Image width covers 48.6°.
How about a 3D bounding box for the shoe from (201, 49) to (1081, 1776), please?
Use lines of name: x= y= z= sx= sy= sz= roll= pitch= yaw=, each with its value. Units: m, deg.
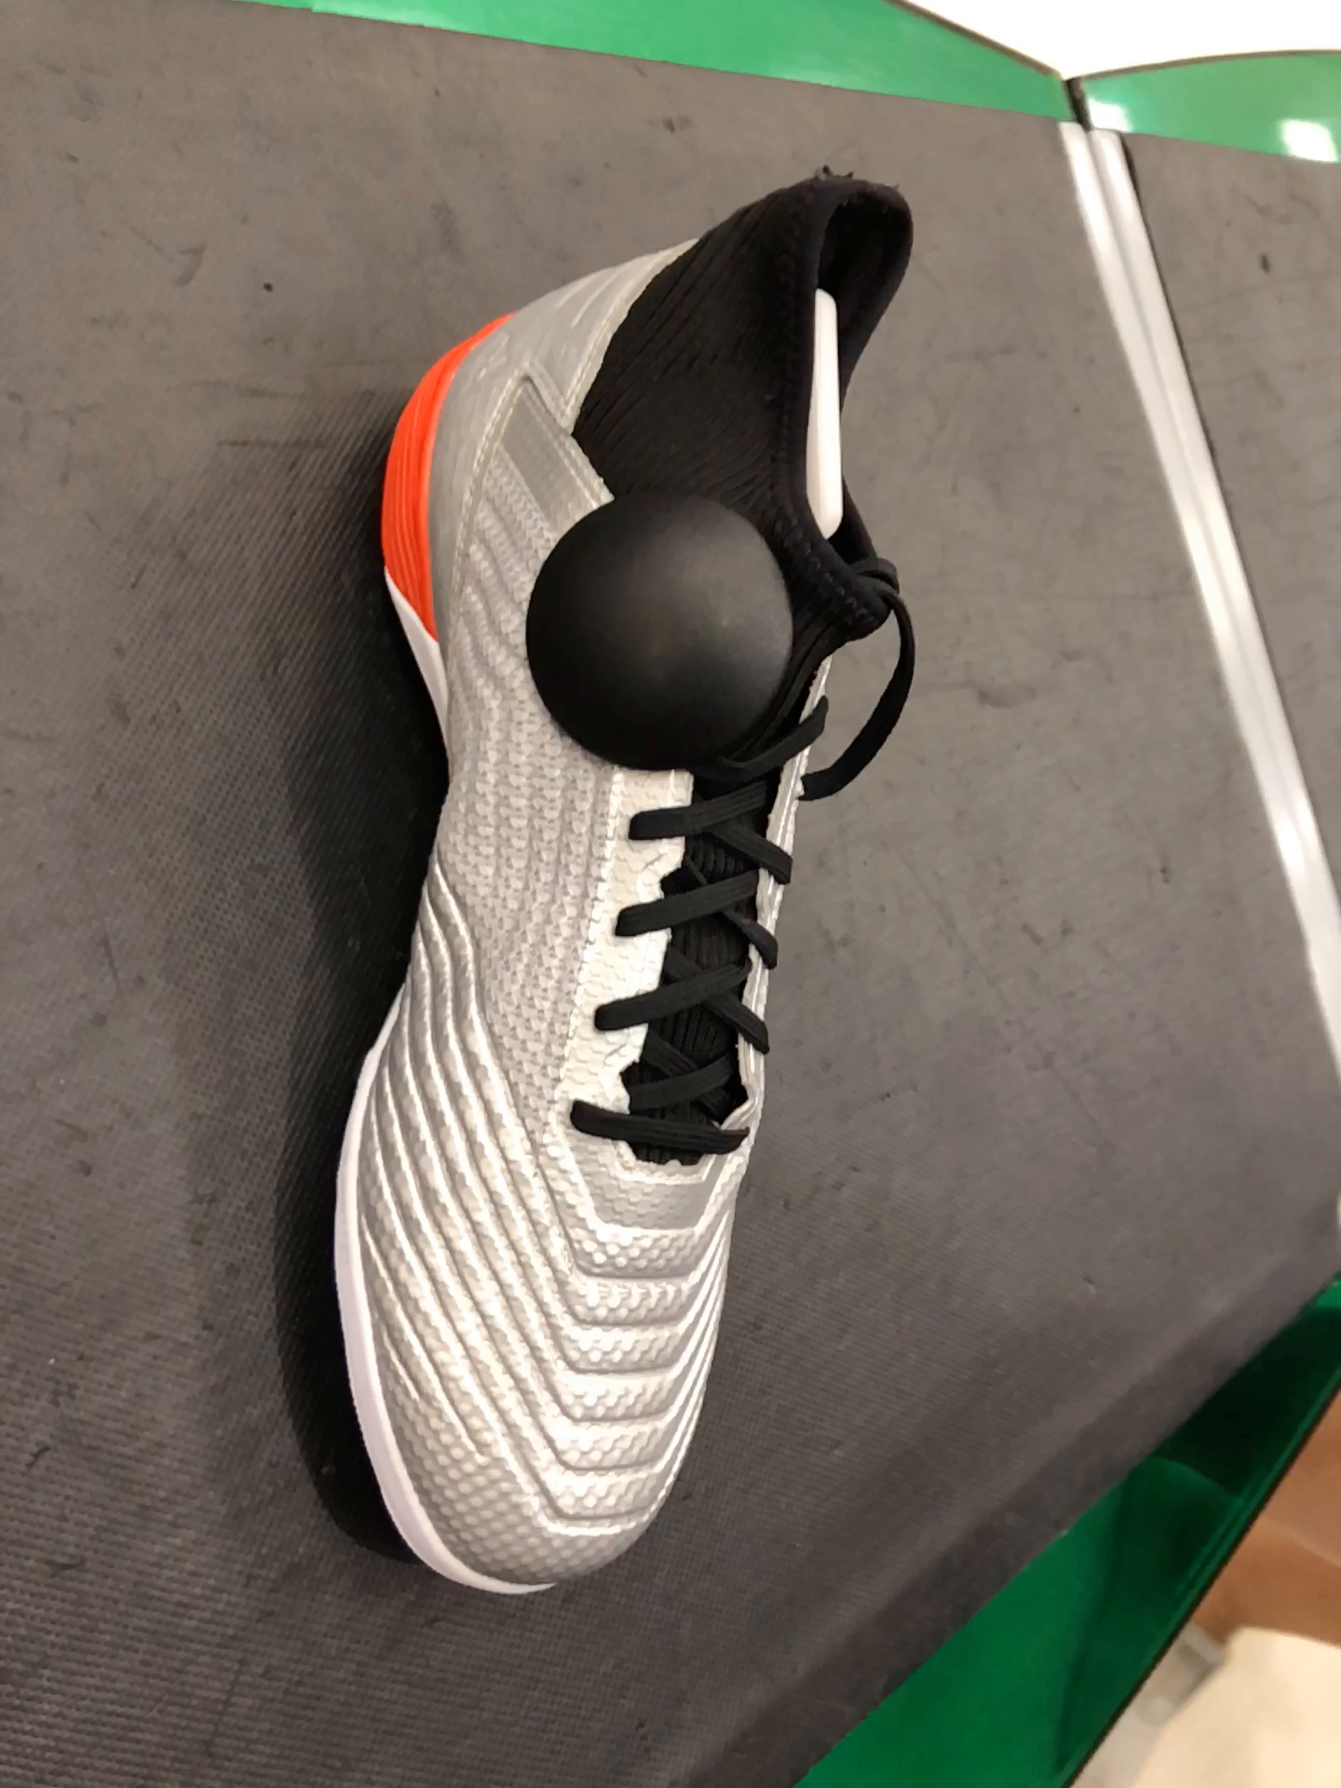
shoe: x=-0.011 y=0.004 z=0.292 sx=0.091 sy=0.139 sz=0.250 roll=10 pitch=75 yaw=-39
